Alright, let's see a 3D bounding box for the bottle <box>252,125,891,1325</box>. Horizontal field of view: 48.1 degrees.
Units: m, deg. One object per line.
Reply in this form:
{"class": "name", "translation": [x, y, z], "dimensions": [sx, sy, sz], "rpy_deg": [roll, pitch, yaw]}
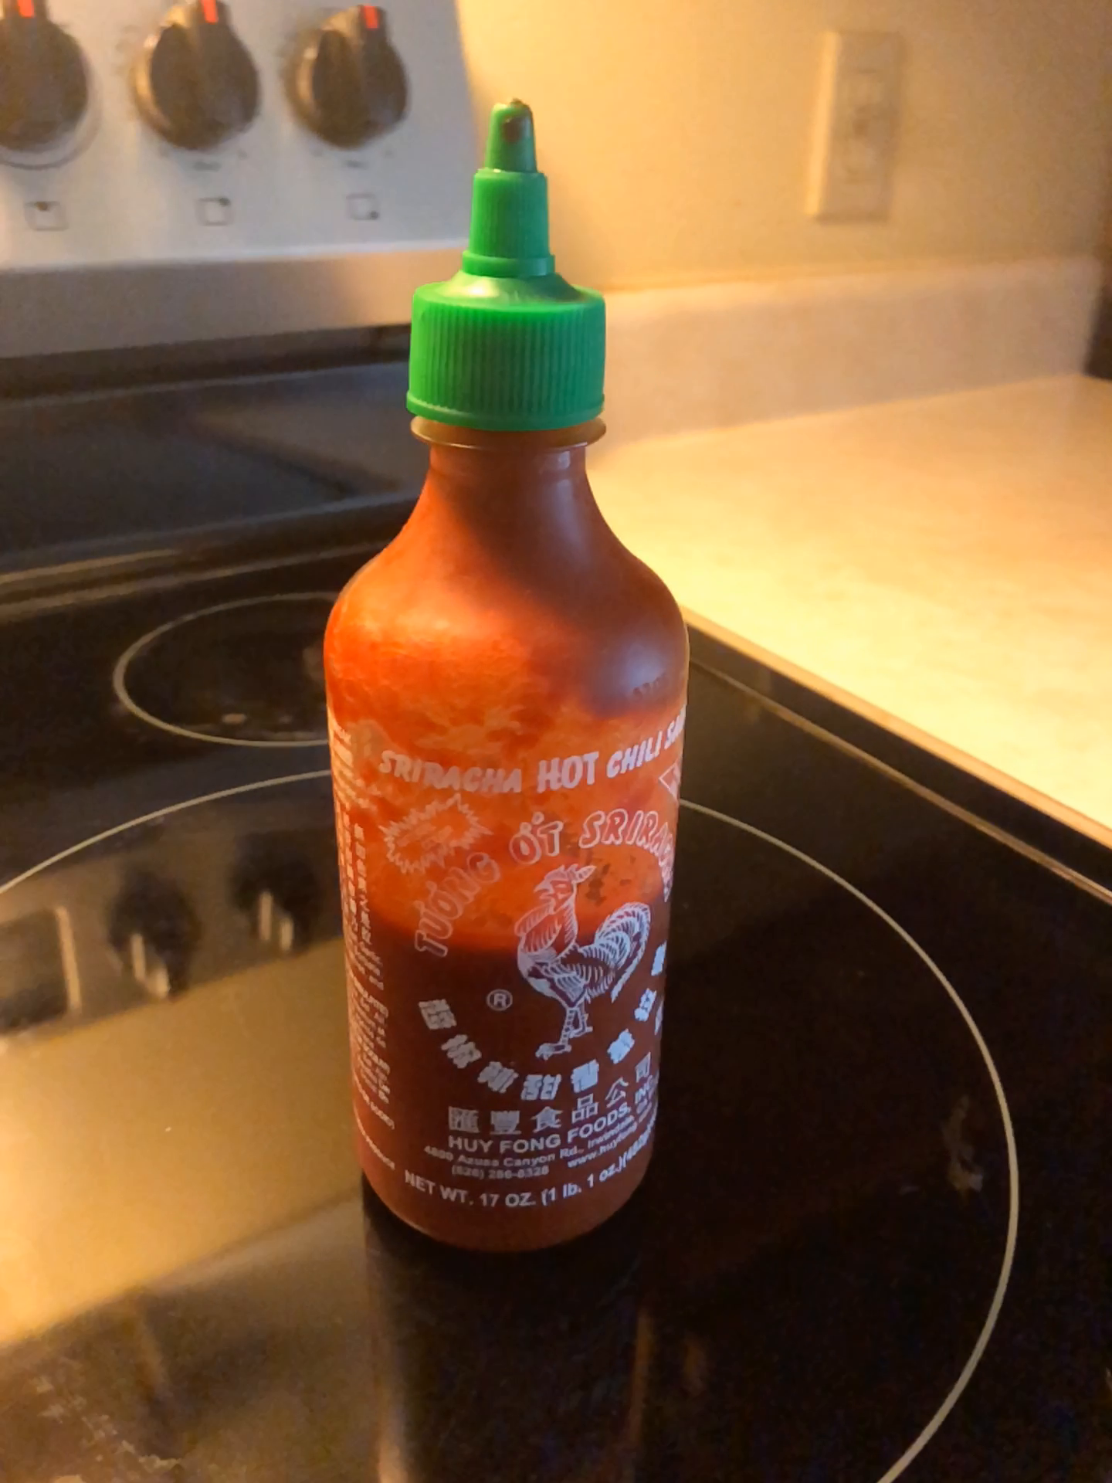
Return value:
{"class": "bottle", "translation": [-0.003, -0.001, 0.229], "dimensions": [0.070, 0.199, 0.070], "rpy_deg": [1, 27, 0]}
